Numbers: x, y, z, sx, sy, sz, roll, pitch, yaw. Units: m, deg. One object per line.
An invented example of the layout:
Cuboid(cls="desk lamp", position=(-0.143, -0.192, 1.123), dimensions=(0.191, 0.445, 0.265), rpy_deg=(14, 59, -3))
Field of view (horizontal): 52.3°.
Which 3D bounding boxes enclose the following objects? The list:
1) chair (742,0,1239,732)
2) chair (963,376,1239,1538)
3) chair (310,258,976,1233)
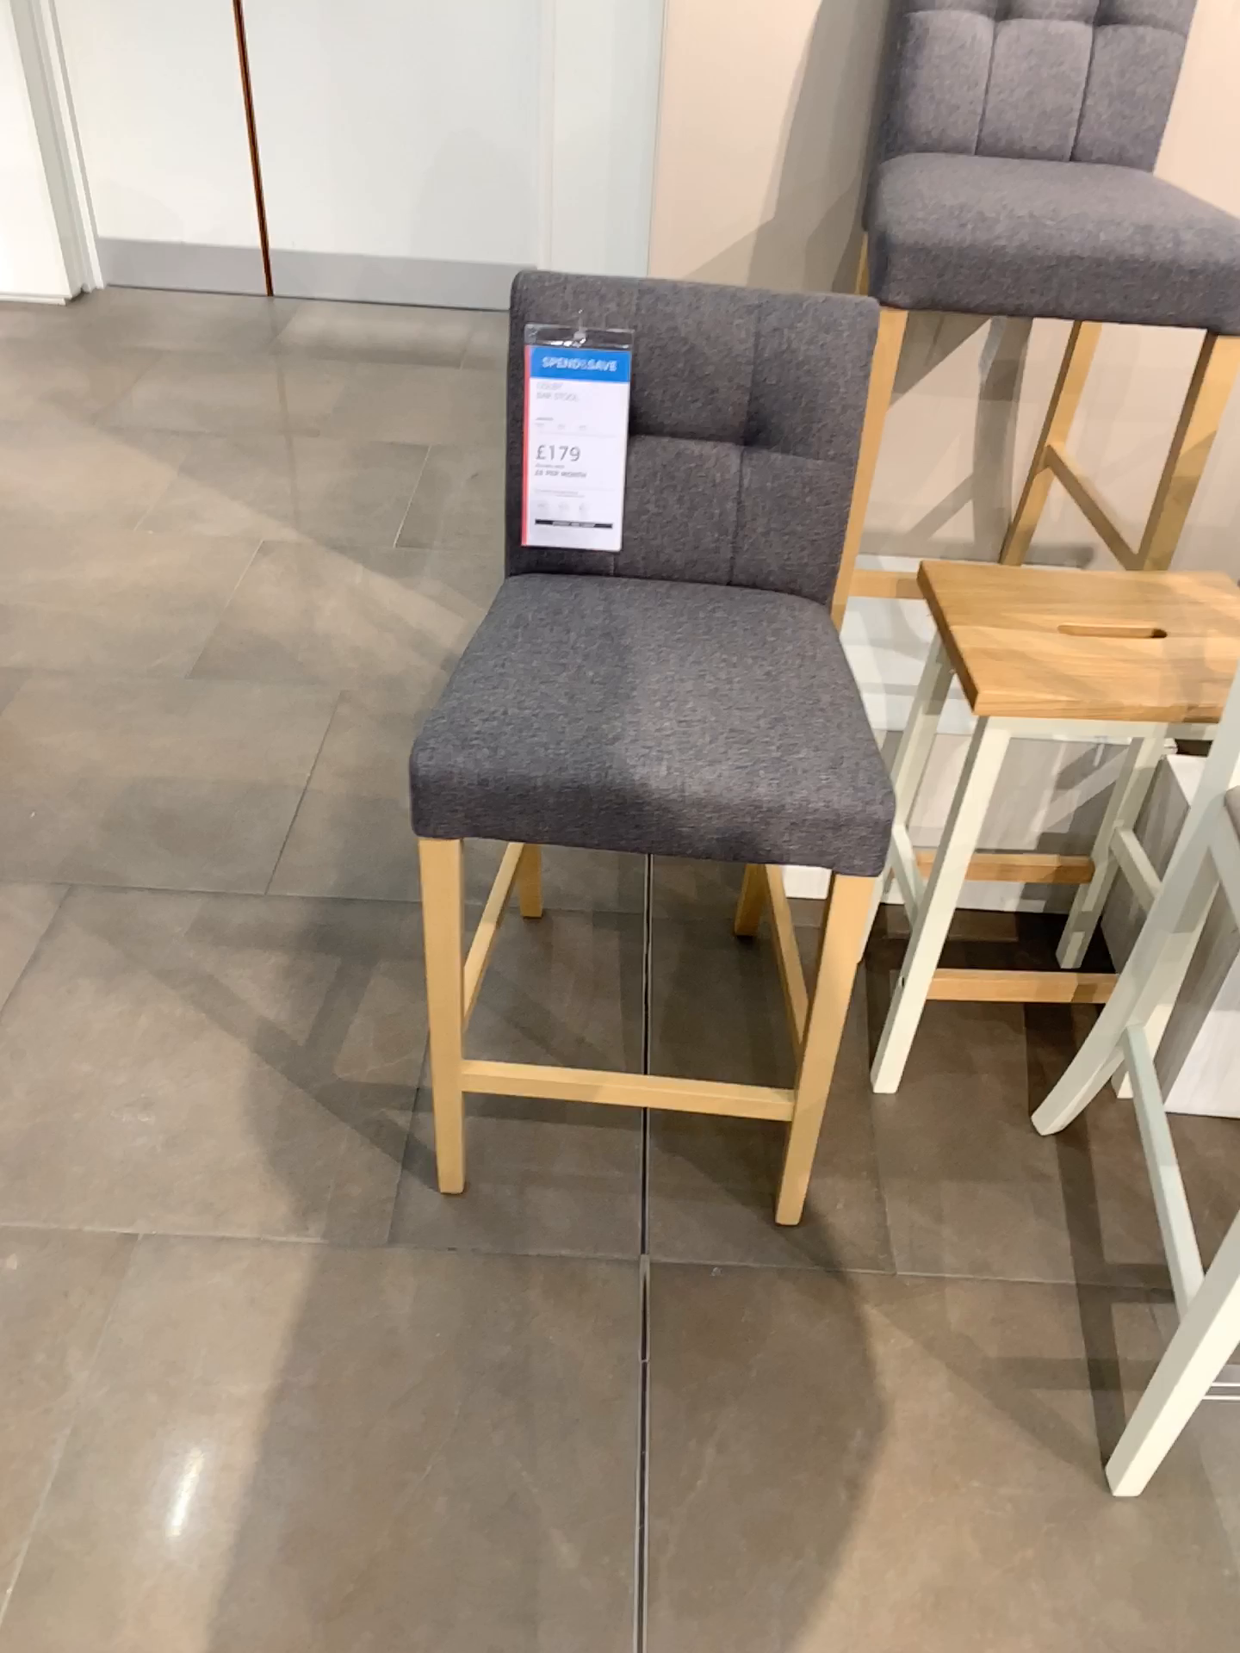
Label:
Cuboid(cls="chair", position=(0.498, -0.677, 1.678), dimensions=(0.546, 0.918, 0.544), rpy_deg=(3, 37, 0))
Cuboid(cls="chair", position=(0.714, 0.160, 1.156), dimensions=(0.506, 0.938, 0.503), rpy_deg=(3, 37, 0))
Cuboid(cls="chair", position=(0.005, -0.064, 1.402), dimensions=(0.486, 0.908, 0.523), rpy_deg=(4, 37, 0))
